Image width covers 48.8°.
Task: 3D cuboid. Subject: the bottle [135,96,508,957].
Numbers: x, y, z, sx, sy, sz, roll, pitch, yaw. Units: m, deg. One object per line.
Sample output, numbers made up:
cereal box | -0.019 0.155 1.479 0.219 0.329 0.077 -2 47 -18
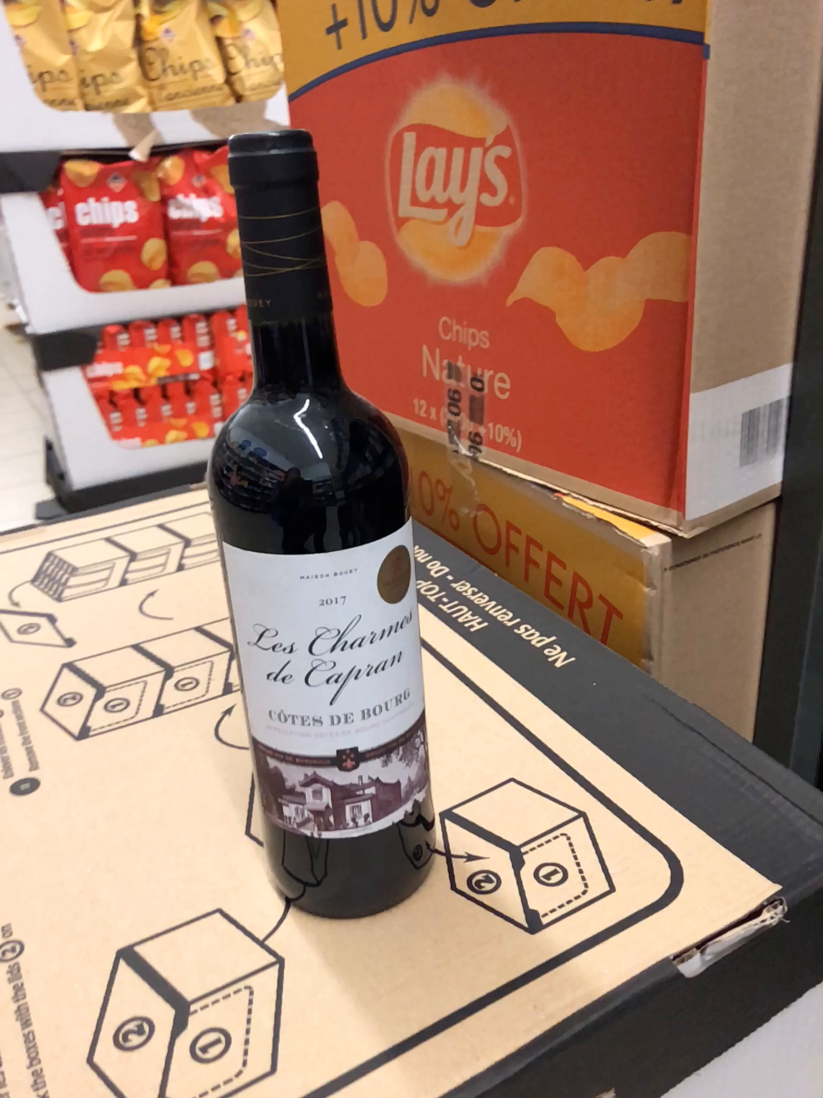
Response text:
bottle | -0.026 -0.002 0.335 0.090 0.288 0.090 -3 25 2
